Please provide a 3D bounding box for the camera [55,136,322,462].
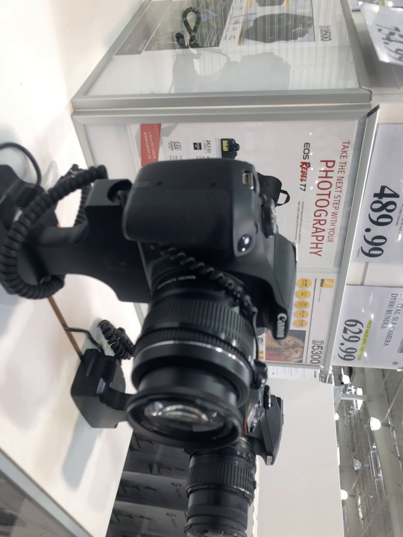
[{"bbox_3d":[0.008,0.017,0.277,0.130,0.110,0.150,82,13,-49],"label":"camera"}]
